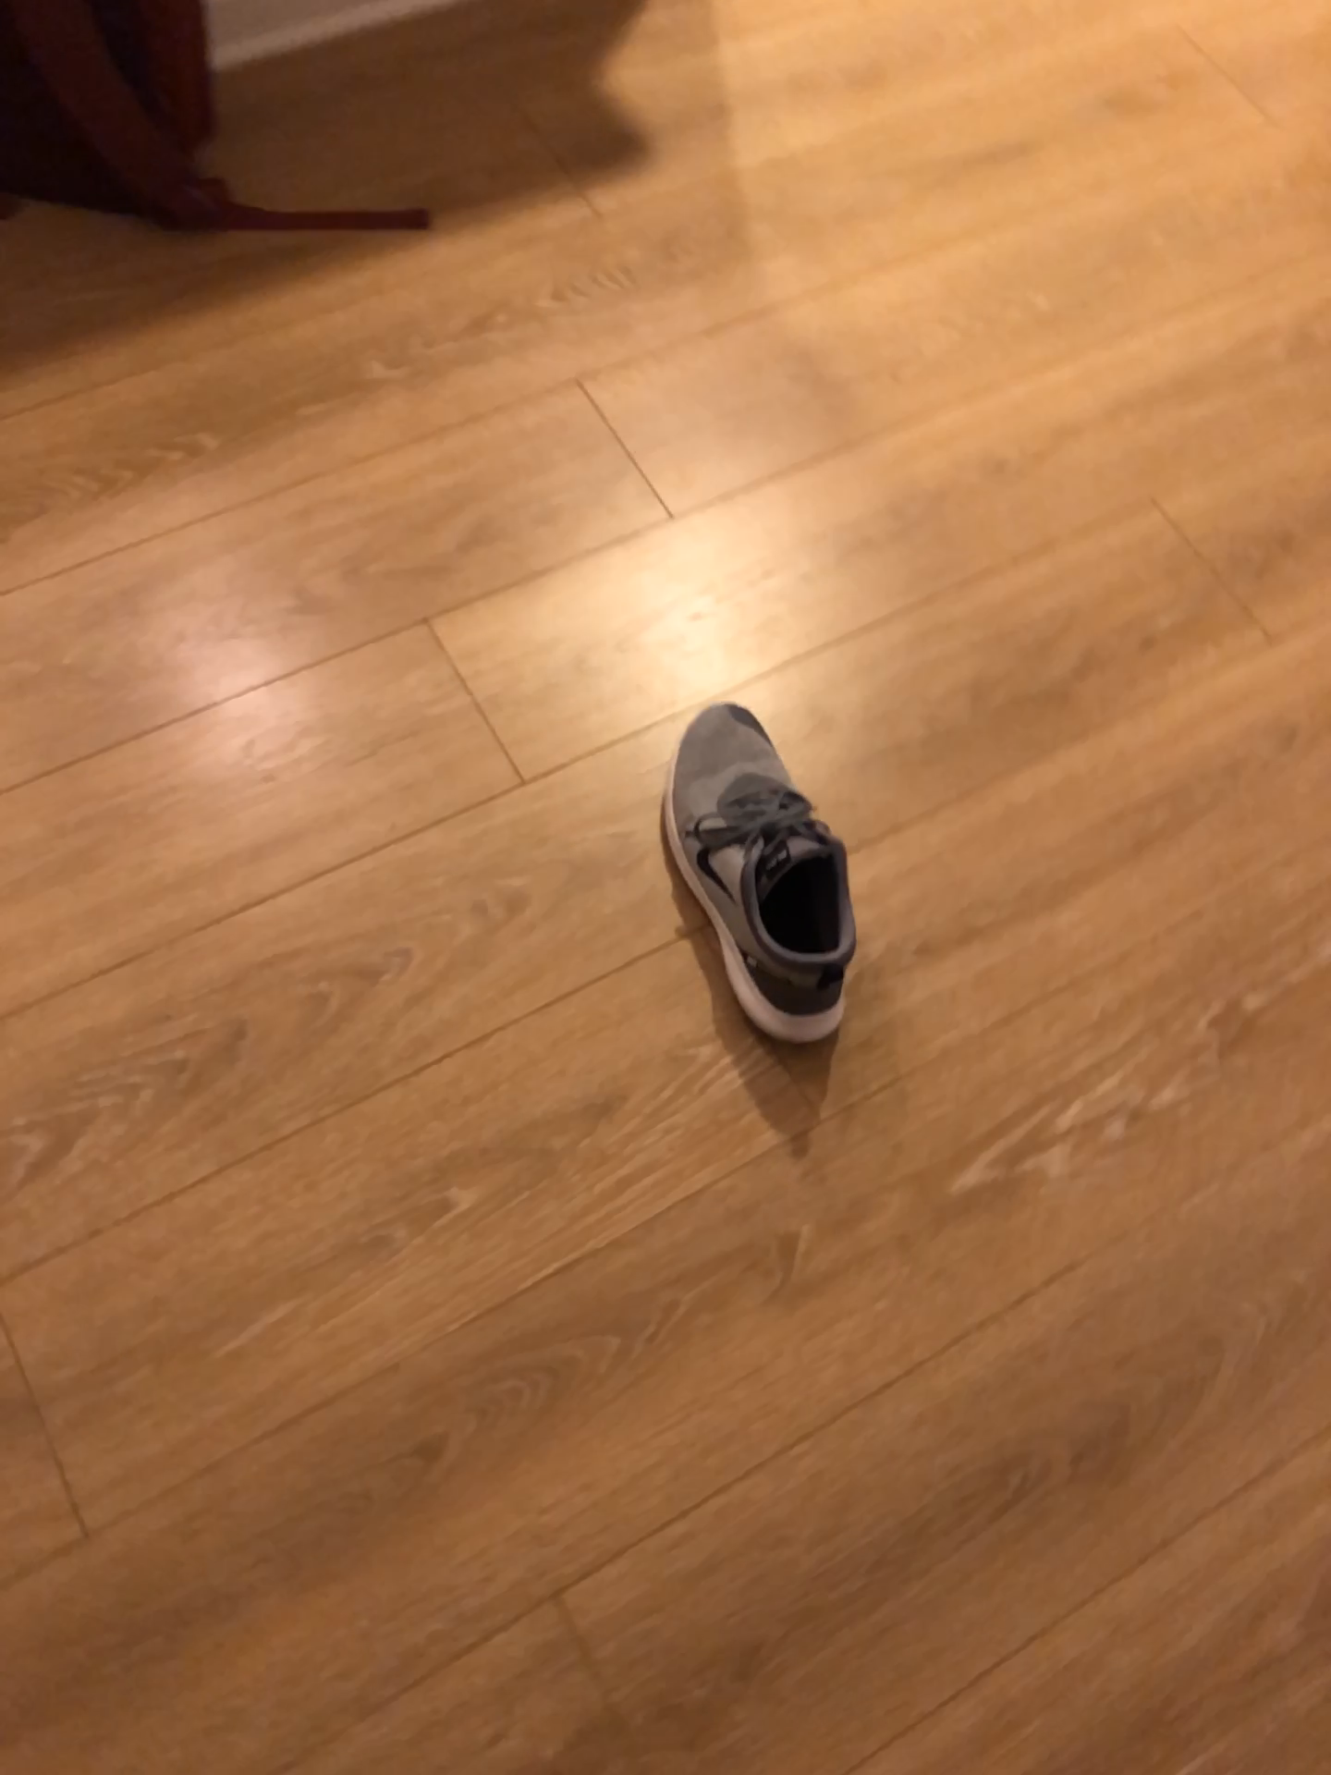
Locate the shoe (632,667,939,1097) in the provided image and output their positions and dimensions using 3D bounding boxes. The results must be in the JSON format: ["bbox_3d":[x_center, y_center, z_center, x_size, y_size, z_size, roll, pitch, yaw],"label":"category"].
[{"bbox_3d":[0.088,-0.010,1.185,0.140,0.080,0.321,-13,67,-12],"label":"shoe"}]
